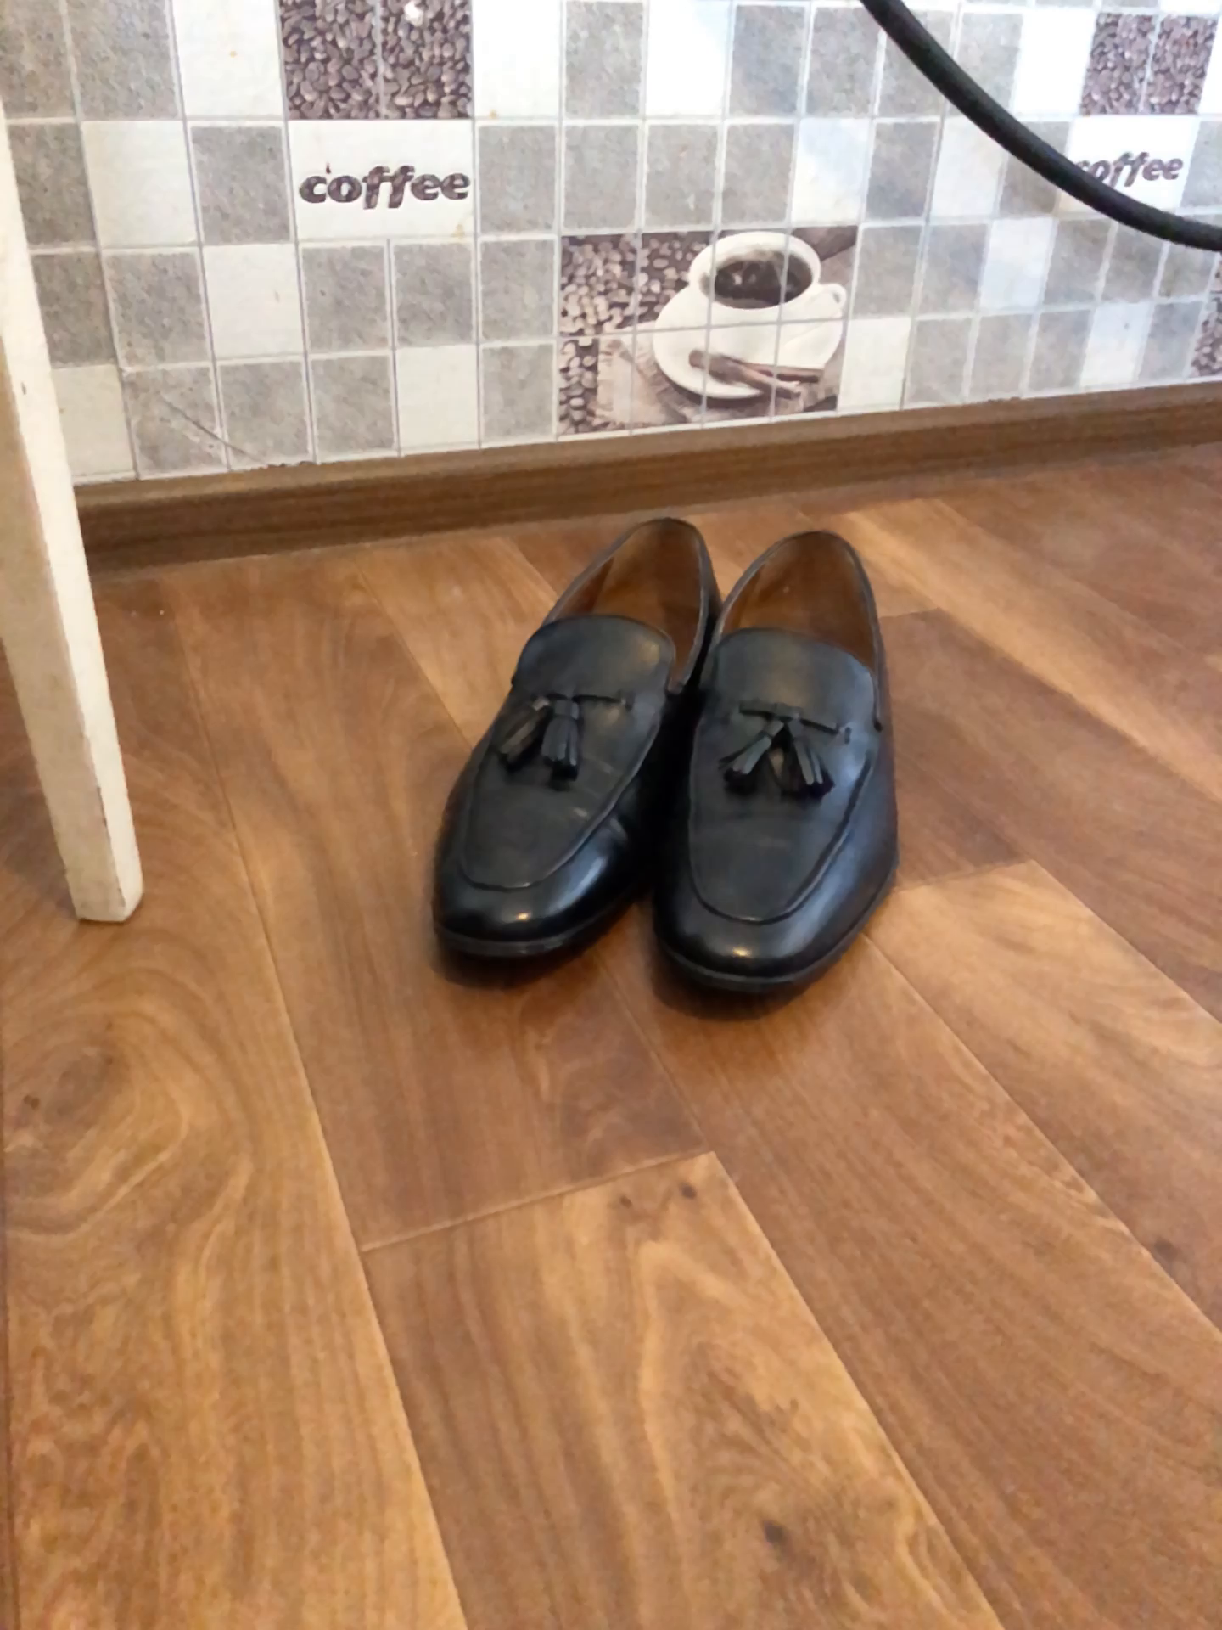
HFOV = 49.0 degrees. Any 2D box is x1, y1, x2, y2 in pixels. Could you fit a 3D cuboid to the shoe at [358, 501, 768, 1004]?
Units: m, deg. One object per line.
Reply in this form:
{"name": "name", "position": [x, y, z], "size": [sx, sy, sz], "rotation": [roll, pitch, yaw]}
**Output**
{"name": "shoe", "position": [-0.004, -0.042, 0.521], "size": [0.100, 0.068, 0.255], "rotation": [7, 33, 9]}

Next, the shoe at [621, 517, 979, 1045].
{"name": "shoe", "position": [0.075, -0.031, 0.505], "size": [0.100, 0.068, 0.255], "rotation": [6, 33, 8]}
